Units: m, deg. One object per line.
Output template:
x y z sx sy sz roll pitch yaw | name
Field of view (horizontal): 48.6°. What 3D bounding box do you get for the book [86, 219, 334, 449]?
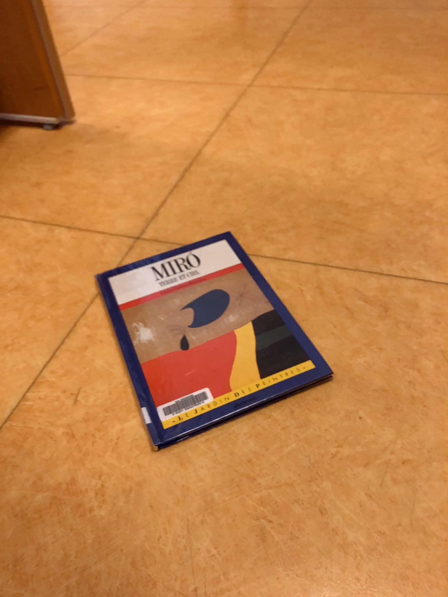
-0.030 0.014 0.508 0.177 0.020 0.246 -19 44 -13 | book
